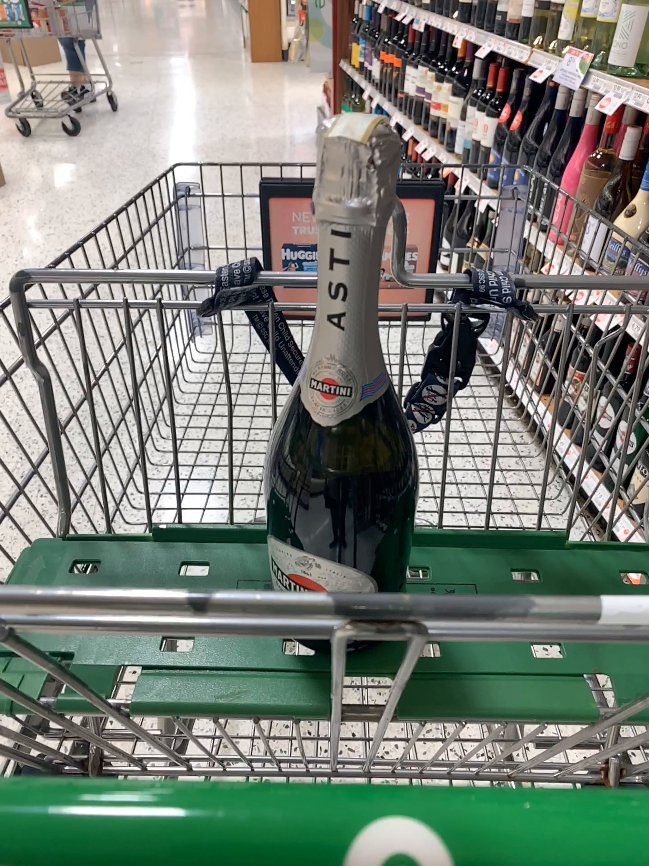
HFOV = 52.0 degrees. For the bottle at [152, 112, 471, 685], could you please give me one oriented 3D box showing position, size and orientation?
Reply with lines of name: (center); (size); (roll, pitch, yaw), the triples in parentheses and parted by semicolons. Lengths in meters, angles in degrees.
bottle: (-0.001, -0.005, 0.366); (0.100, 0.287, 0.101); (0, 37, 0)
